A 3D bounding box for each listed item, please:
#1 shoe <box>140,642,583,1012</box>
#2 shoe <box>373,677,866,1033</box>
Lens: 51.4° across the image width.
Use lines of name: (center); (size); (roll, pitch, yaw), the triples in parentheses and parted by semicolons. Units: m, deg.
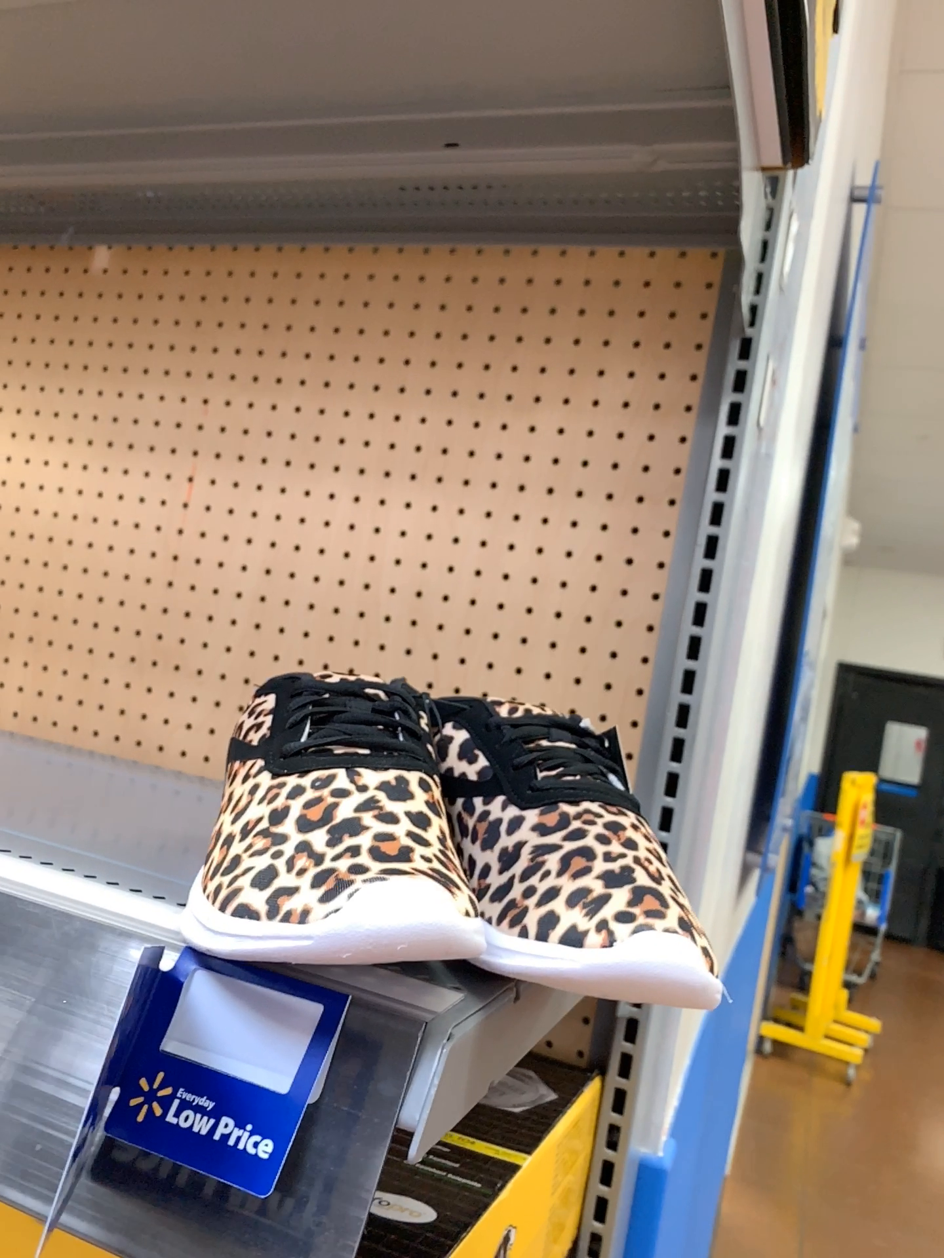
shoe: (-0.059, 0.064, 0.412); (0.119, 0.091, 0.240); (11, -2, -14)
shoe: (0.043, 0.084, 0.442); (0.110, 0.091, 0.240); (11, -2, -18)
